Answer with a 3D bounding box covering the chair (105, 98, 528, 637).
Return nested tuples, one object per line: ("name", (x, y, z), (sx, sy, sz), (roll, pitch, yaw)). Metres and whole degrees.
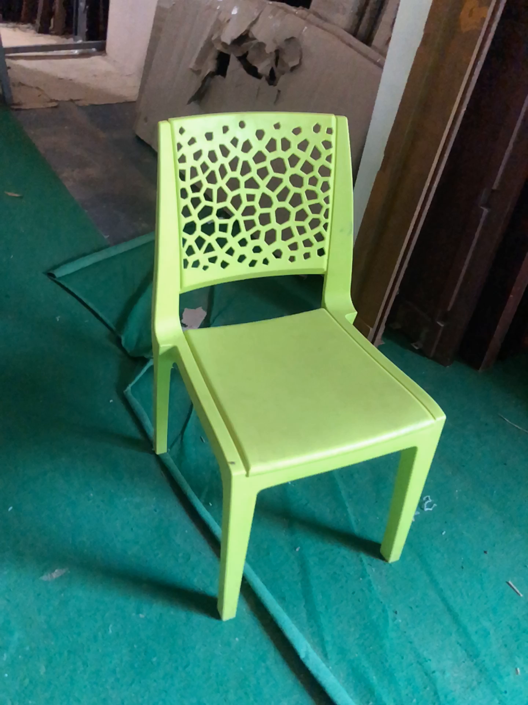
("chair", (0.041, -0.009, 1.170), (0.531, 0.775, 0.642), (-11, 40, -19))
